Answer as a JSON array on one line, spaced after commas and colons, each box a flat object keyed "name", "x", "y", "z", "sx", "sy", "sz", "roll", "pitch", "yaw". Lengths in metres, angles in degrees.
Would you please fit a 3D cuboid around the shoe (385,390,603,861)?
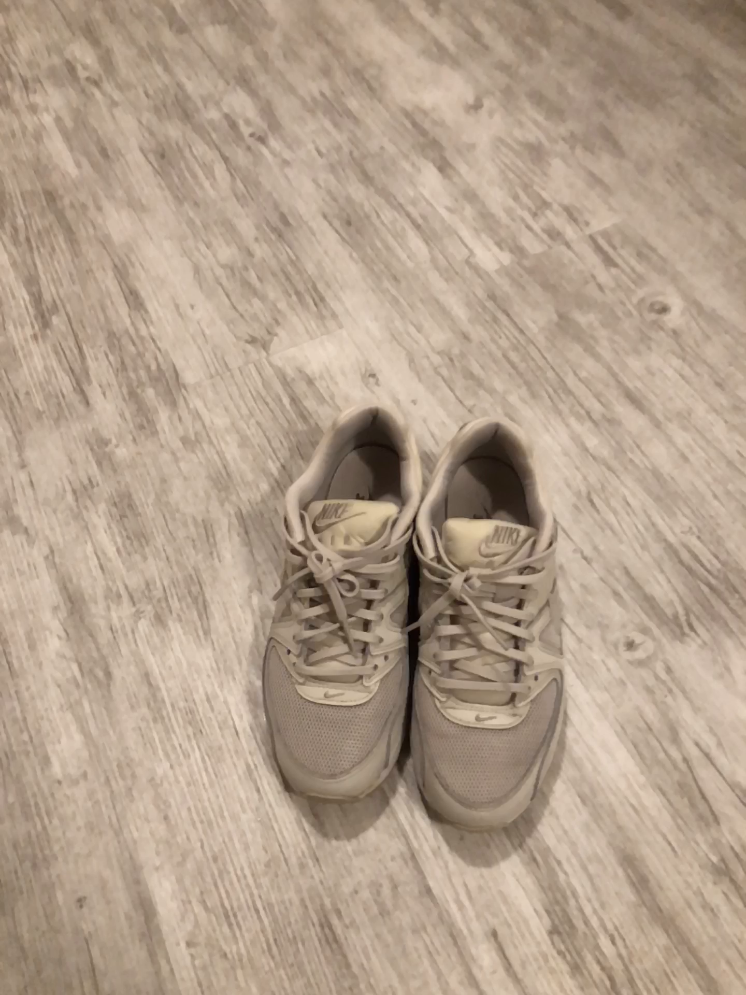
[{"name": "shoe", "x": 0.068, "y": 0.071, "z": 0.495, "sx": 0.100, "sy": 0.120, "sz": 0.250, "roll": 3, "pitch": 57, "yaw": 5}]

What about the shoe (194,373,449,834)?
[{"name": "shoe", "x": -0.018, "y": 0.060, "z": 0.514, "sx": 0.090, "sy": 0.120, "sz": 0.250, "roll": 8, "pitch": 58, "yaw": 8}]
